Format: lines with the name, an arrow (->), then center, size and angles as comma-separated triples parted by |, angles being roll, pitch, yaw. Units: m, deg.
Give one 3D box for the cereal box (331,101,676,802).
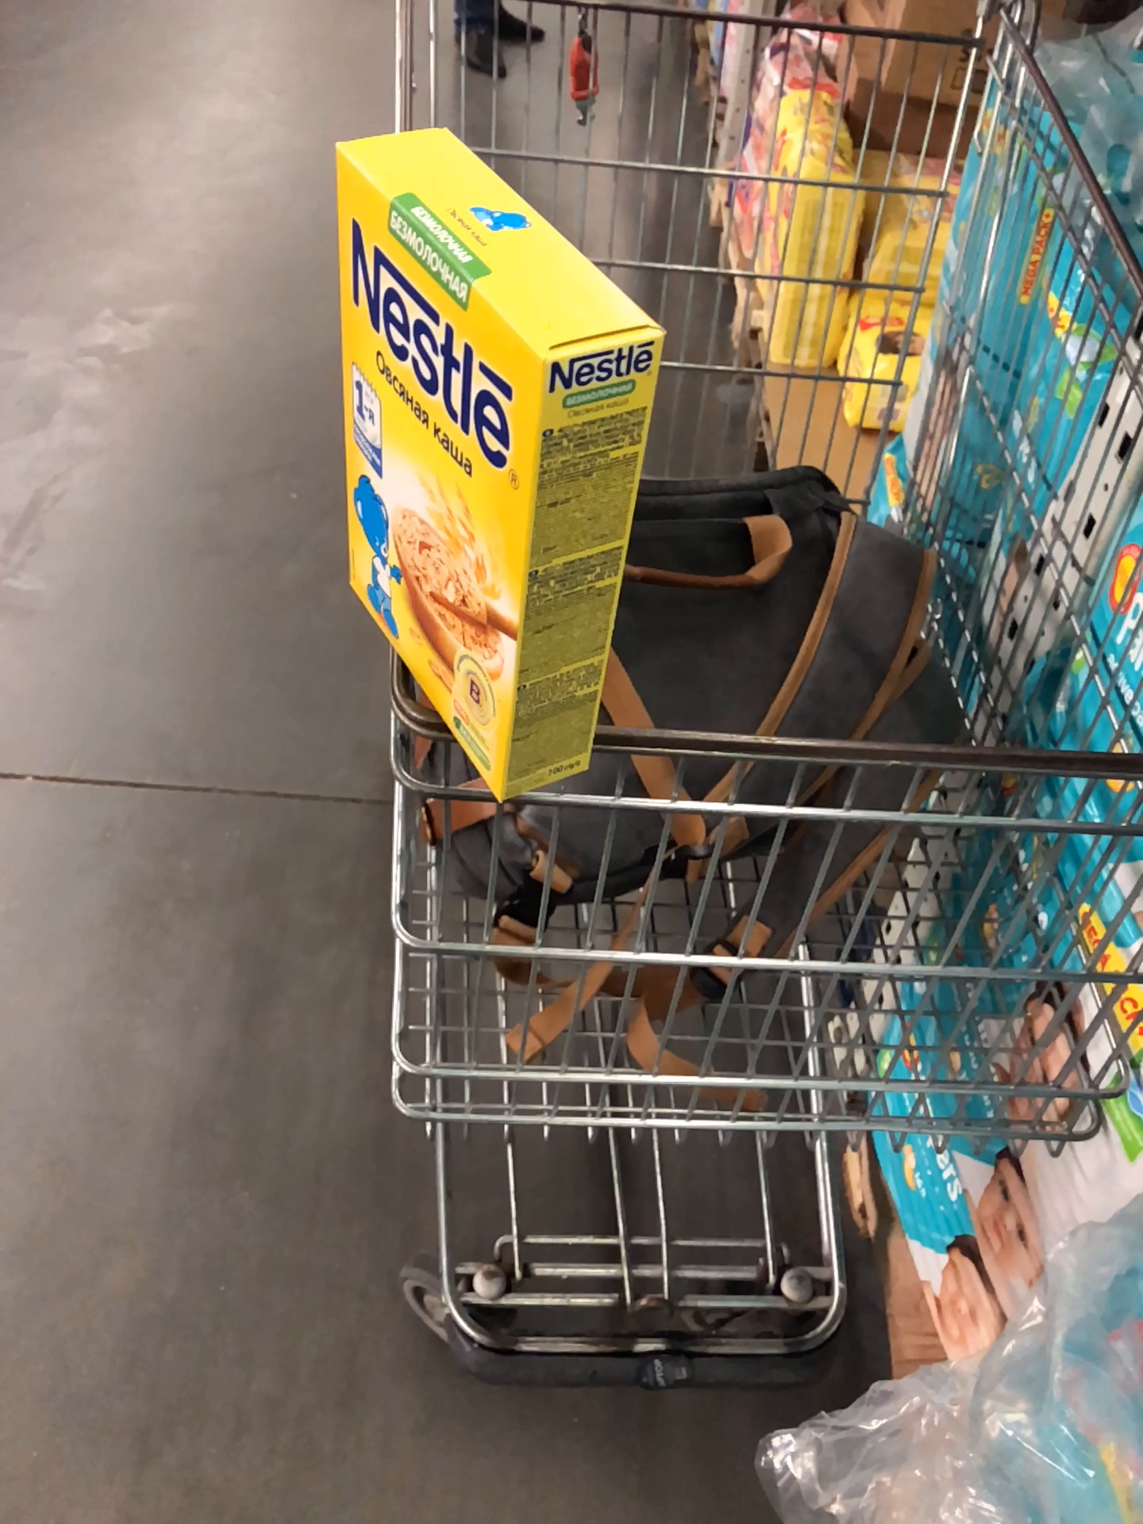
cereal box -> -0.036, -0.108, 0.464 | 0.040, 0.199, 0.151 | -20, 54, -24
